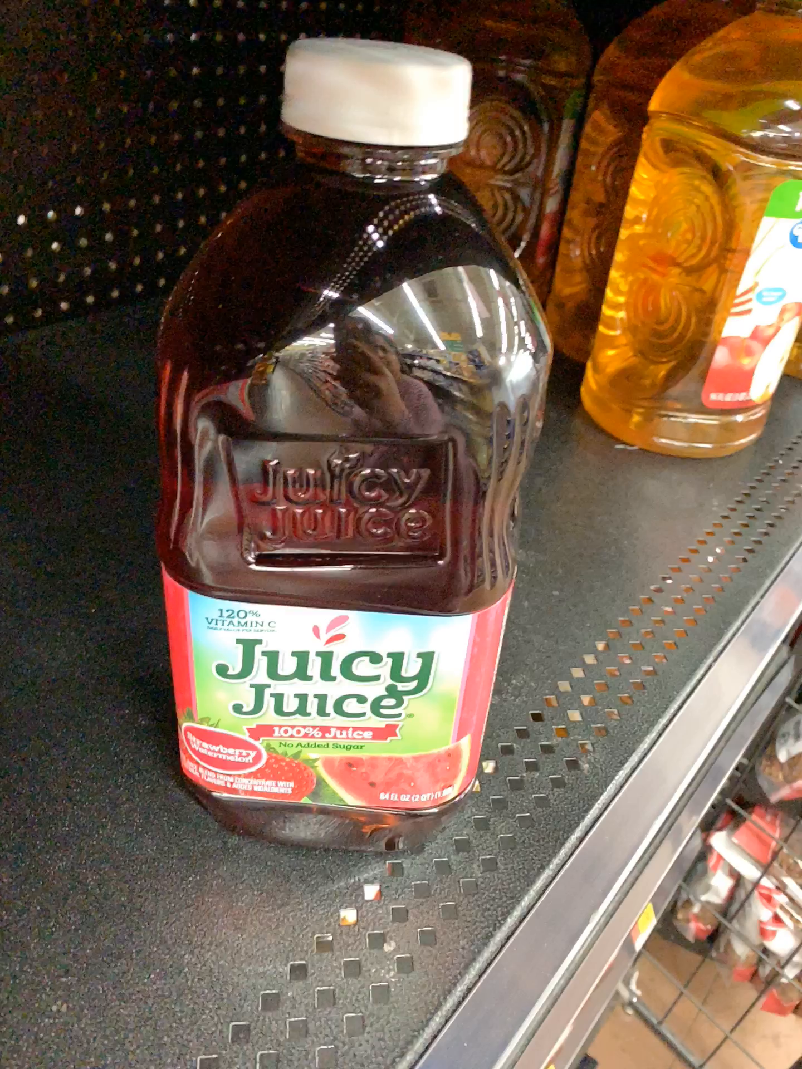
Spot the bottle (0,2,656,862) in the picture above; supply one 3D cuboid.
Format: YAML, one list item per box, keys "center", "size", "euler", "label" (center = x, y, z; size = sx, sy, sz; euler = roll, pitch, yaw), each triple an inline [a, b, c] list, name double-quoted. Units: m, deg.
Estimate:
- center: [-0.026, -0.011, 0.268]
  size: [0.125, 0.255, 0.090]
  euler: [5, 37, -4]
  label: "bottle"
